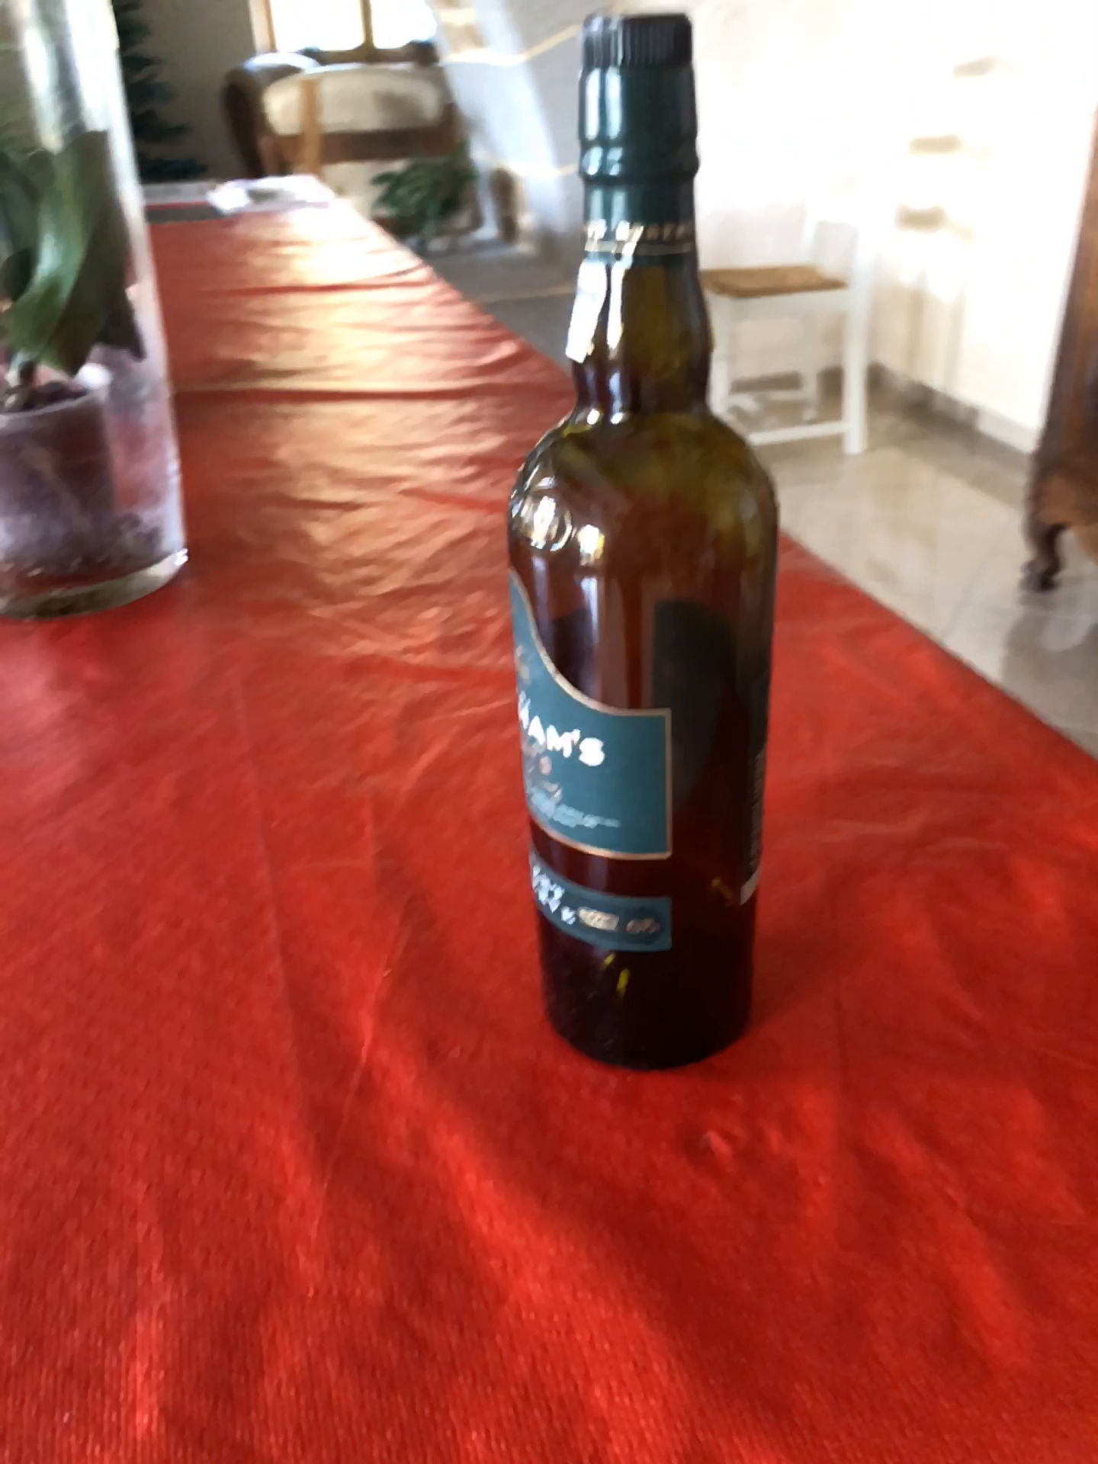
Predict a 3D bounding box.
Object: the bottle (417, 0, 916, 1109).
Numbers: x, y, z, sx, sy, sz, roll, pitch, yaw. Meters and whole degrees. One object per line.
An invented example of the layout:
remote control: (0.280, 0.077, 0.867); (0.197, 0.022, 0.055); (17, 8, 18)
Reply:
bottle: (0.028, -0.040, 0.355); (0.090, 0.298, 0.090); (-2, 29, 1)
